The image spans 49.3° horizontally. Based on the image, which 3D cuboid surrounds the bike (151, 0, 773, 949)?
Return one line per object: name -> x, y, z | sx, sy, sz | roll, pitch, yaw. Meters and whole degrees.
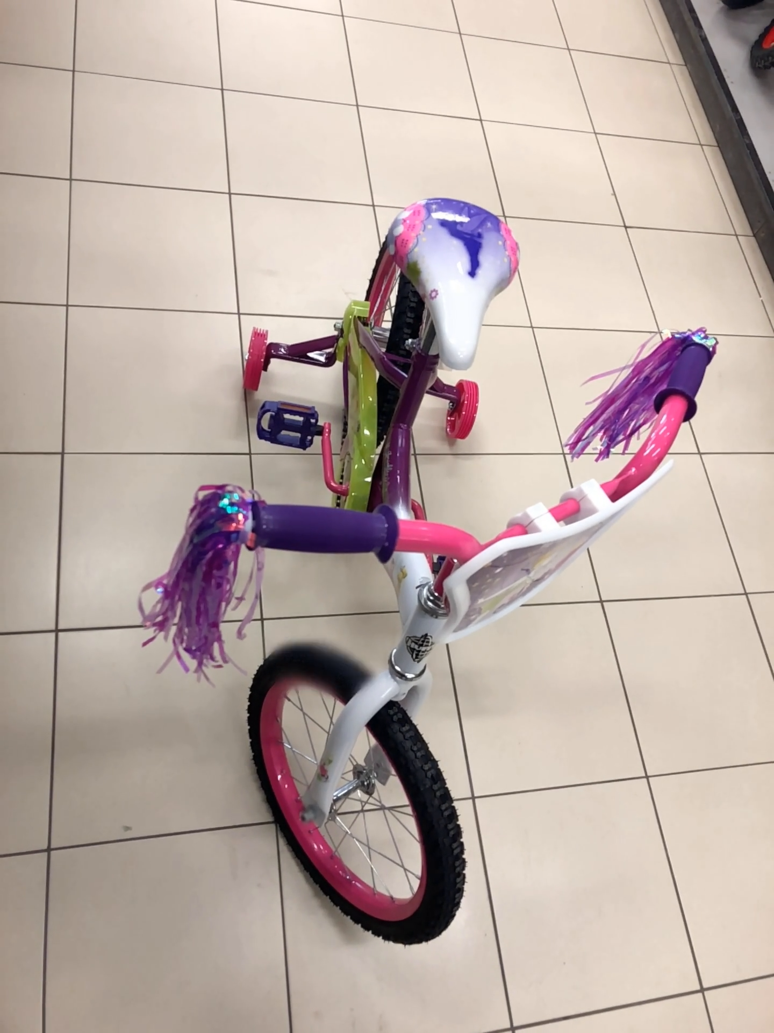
bike -> 0.065, -0.089, 1.030 | 0.595, 0.811, 1.069 | 4, 63, -14
